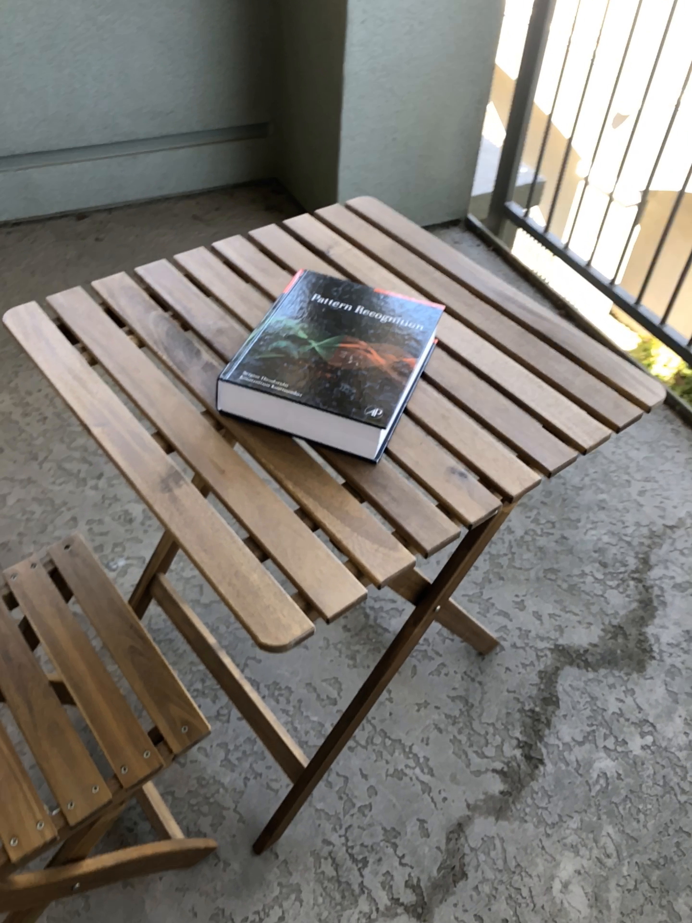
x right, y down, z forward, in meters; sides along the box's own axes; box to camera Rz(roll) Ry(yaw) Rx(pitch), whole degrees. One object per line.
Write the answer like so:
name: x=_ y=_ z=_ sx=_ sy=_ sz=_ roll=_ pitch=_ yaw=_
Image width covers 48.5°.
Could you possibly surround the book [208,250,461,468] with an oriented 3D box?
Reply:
book: x=-0.005 y=-0.131 z=0.898 sx=0.210 sy=0.070 sz=0.251 roll=18 pitch=47 yaw=12
